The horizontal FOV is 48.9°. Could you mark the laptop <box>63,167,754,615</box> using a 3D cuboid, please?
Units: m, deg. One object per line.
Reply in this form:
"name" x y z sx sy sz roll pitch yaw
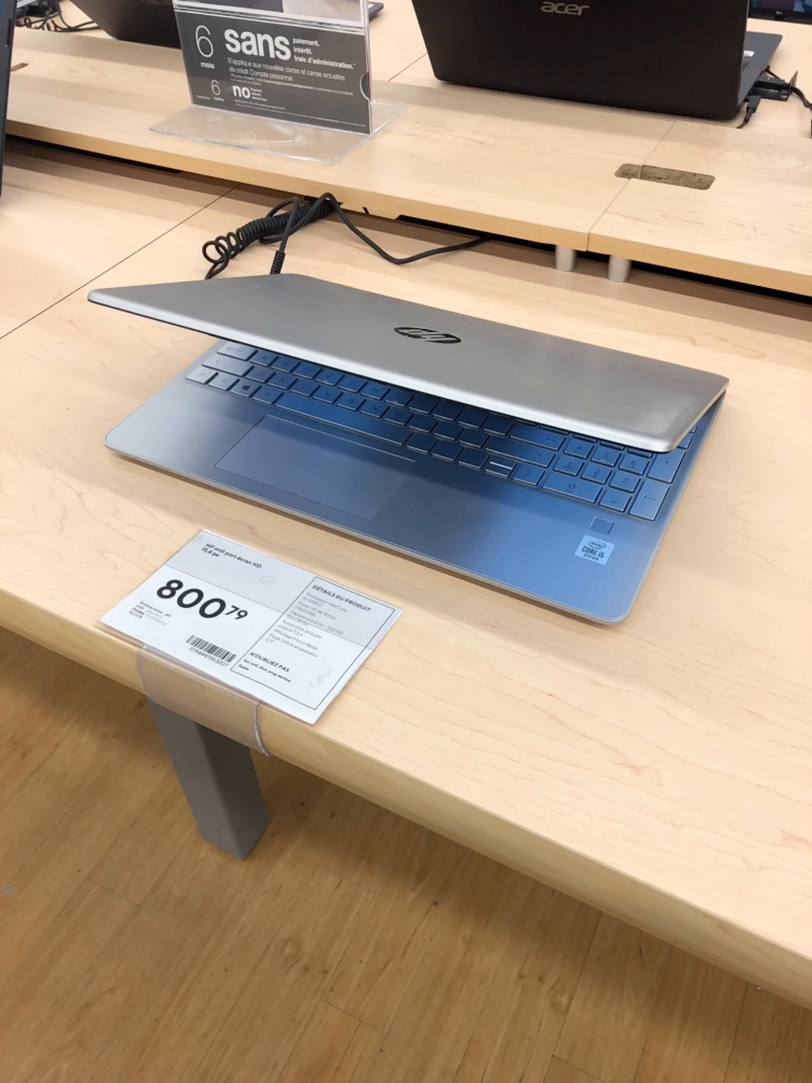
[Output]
"laptop" 0.007 -0.117 0.557 0.341 0.086 0.224 19 50 20
